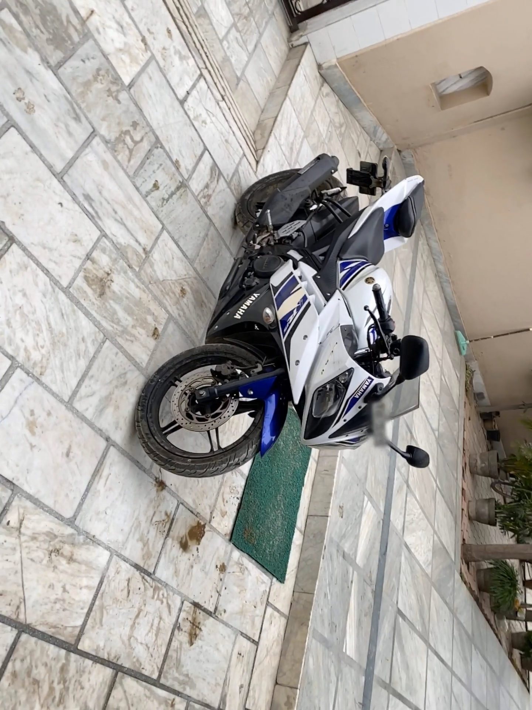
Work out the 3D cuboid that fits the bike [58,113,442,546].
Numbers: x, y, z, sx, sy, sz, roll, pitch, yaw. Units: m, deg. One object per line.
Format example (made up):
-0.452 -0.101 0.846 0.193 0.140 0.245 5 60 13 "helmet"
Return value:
0.123 -0.184 2.517 0.736 0.902 1.886 58 43 -38 "bike"
